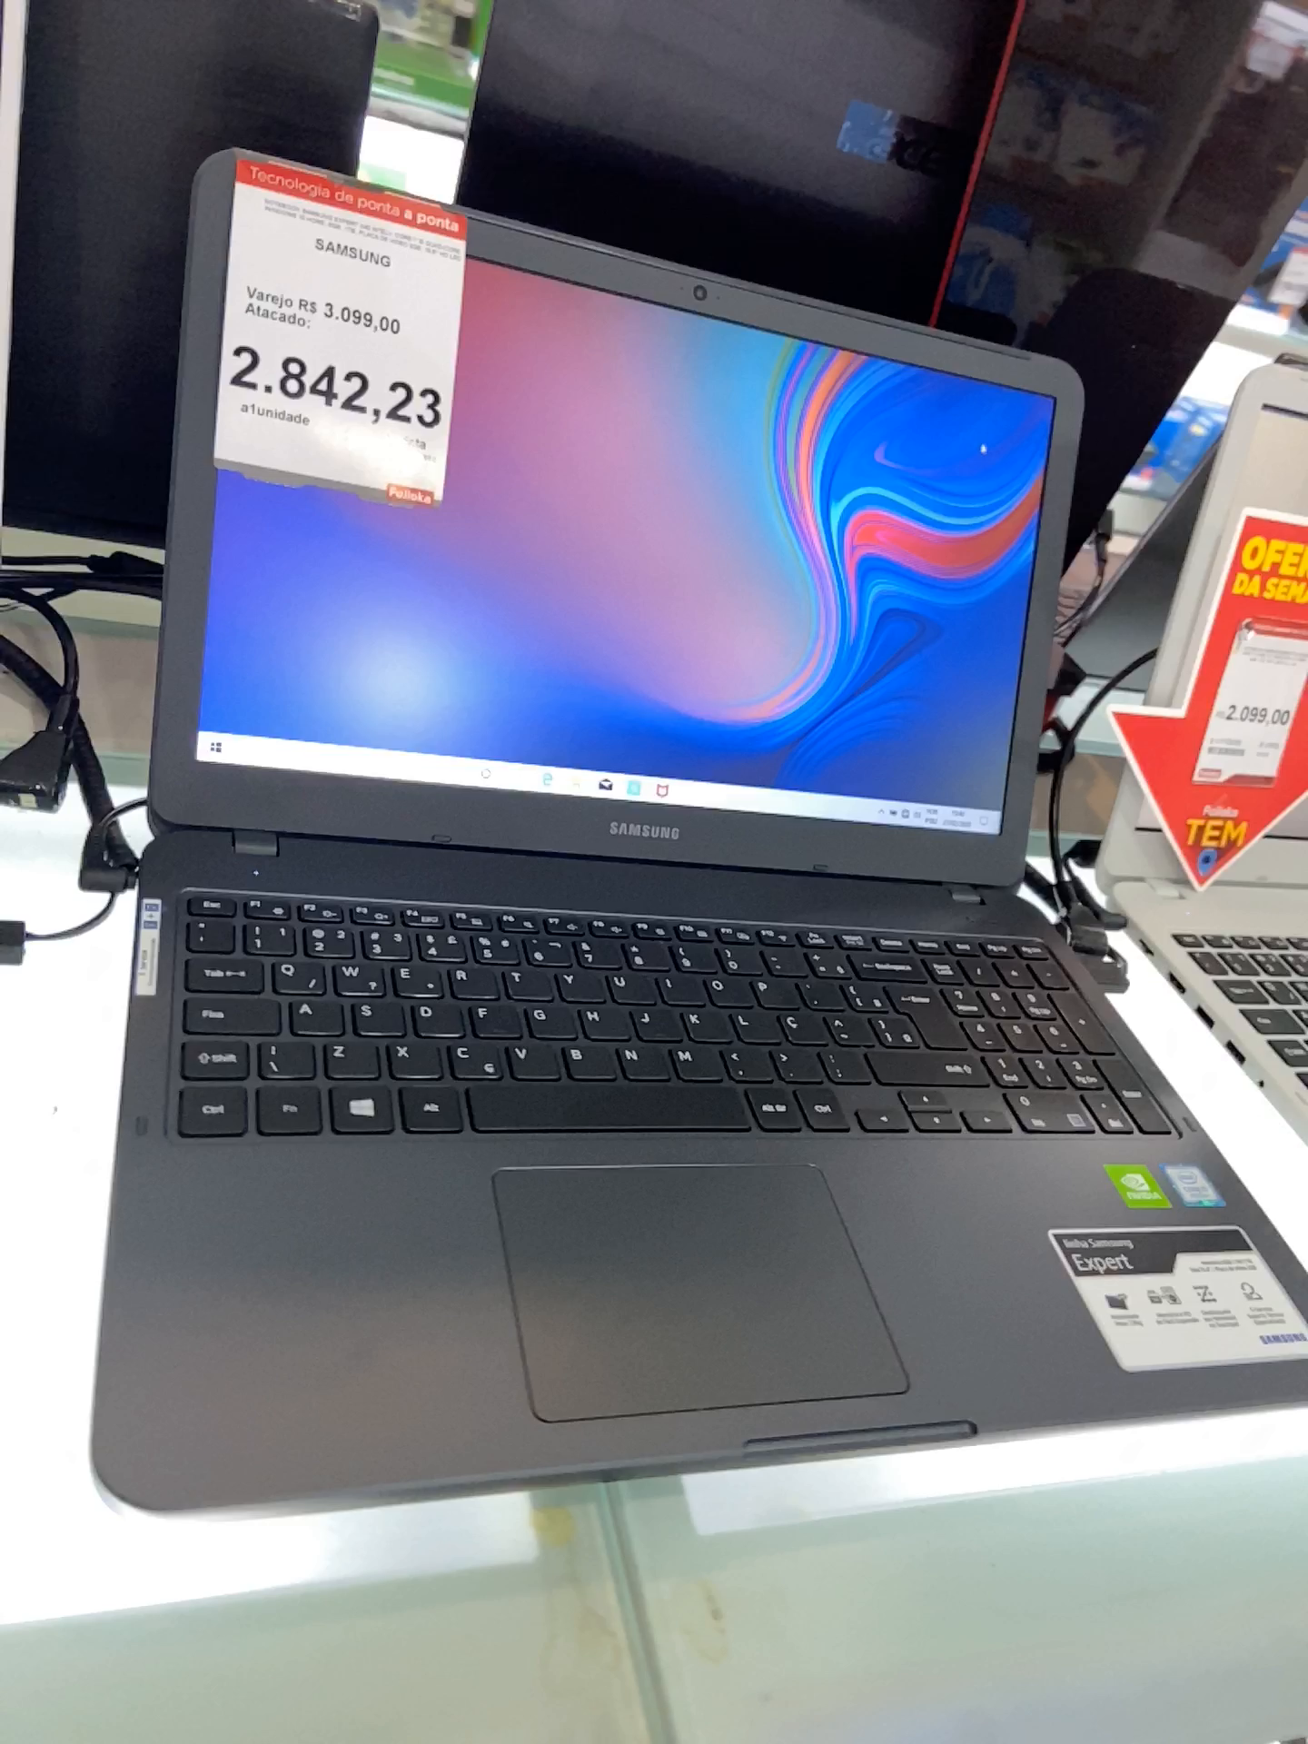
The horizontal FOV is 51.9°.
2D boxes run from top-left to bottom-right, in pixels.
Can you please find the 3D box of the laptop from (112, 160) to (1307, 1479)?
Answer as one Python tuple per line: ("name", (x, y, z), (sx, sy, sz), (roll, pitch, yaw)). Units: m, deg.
("laptop", (0.036, -0.044, 0.446), (0.367, 0.193, 0.371), (5, 36, -21))
